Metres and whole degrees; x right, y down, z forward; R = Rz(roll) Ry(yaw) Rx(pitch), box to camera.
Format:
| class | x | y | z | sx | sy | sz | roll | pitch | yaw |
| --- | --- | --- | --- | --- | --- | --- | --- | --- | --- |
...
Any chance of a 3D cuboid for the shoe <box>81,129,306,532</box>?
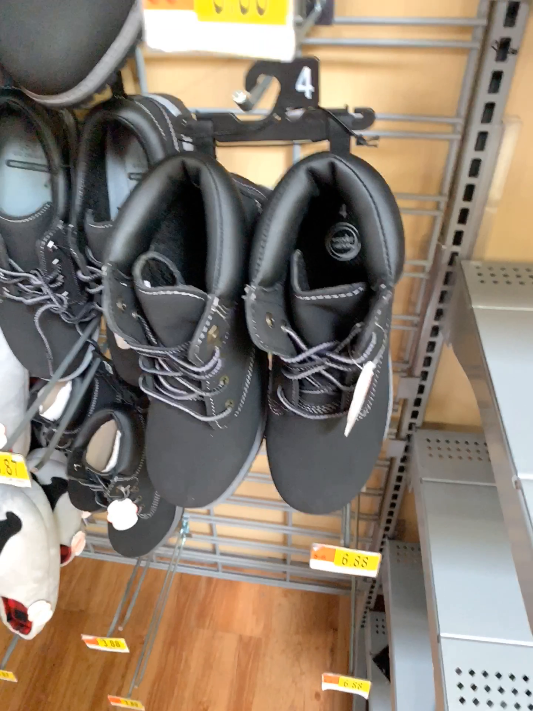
| class | x | y | z | sx | sy | sz | roll | pitch | yaw |
| --- | --- | --- | --- | --- | --- | --- | --- | --- | --- |
| shoe | -0.042 | -0.020 | 0.361 | 0.100 | 0.229 | 0.110 | 8 | 25 | 8 |

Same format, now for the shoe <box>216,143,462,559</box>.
| class | x | y | z | sx | sy | sz | roll | pitch | yaw |
| --- | --- | --- | --- | --- | --- | --- | --- | --- | --- |
| shoe | 0.036 | -0.011 | 0.326 | 0.100 | 0.205 | 0.120 | 7 | 24 | 9 |
